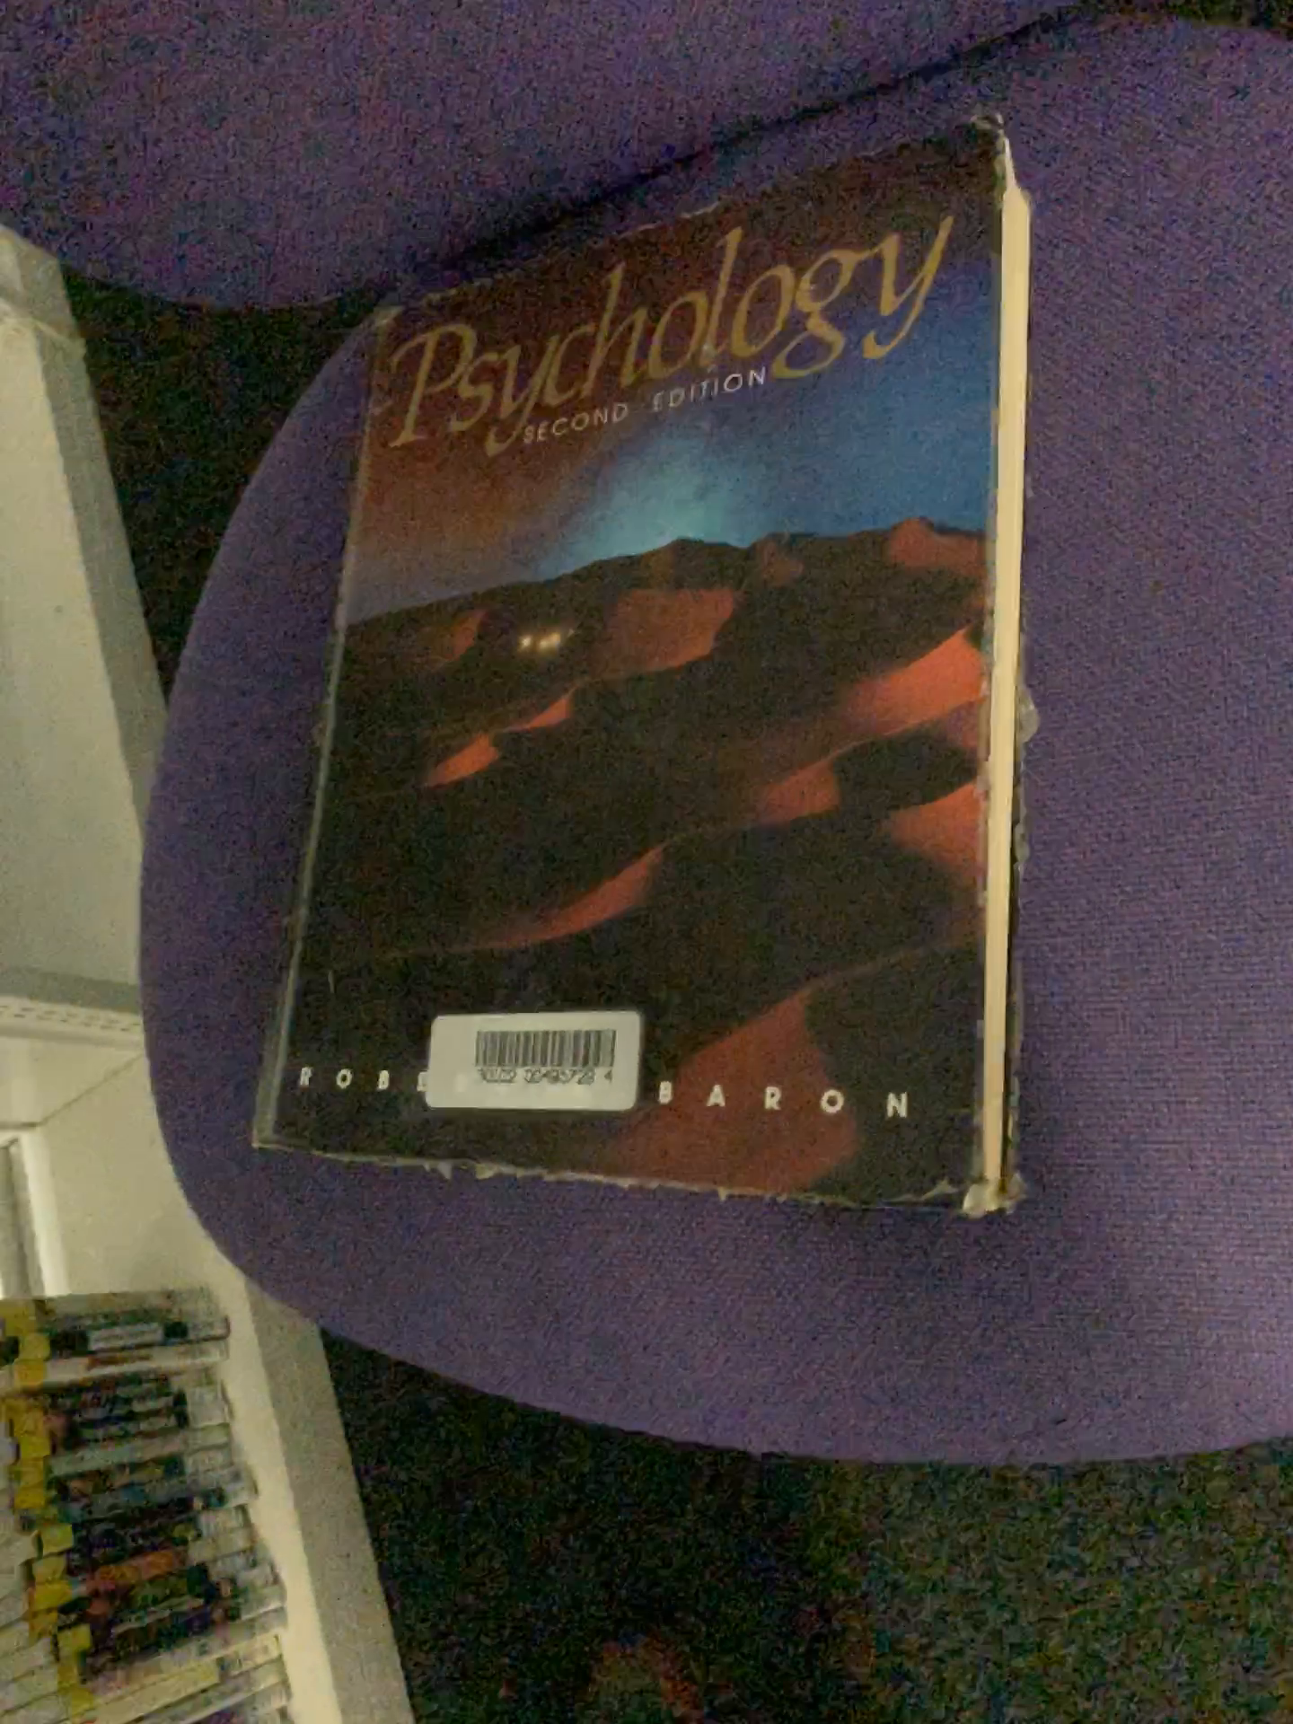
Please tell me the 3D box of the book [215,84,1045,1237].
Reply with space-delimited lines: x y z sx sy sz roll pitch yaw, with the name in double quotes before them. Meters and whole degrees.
"book" -0.009 -0.050 0.379 0.231 0.040 0.280 -3 76 30
